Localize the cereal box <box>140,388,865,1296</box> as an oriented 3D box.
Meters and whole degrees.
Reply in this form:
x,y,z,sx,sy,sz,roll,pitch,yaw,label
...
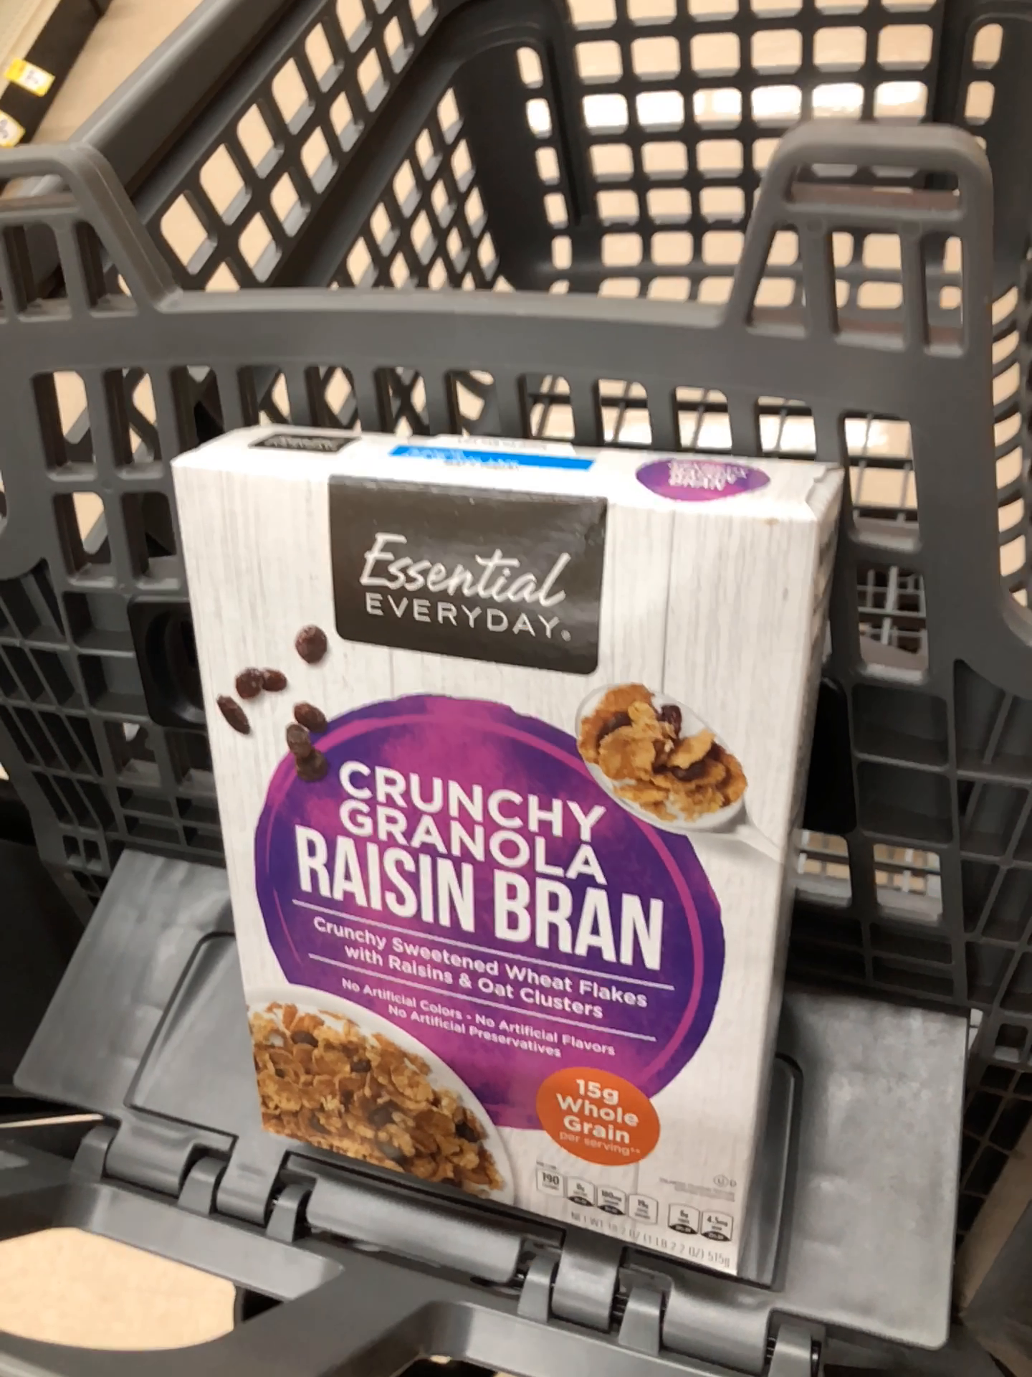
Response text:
x,y,z,sx,sy,sz,roll,pitch,yaw,label
-0.004,0.051,0.393,0.200,0.280,0.070,8,26,19,cereal box
